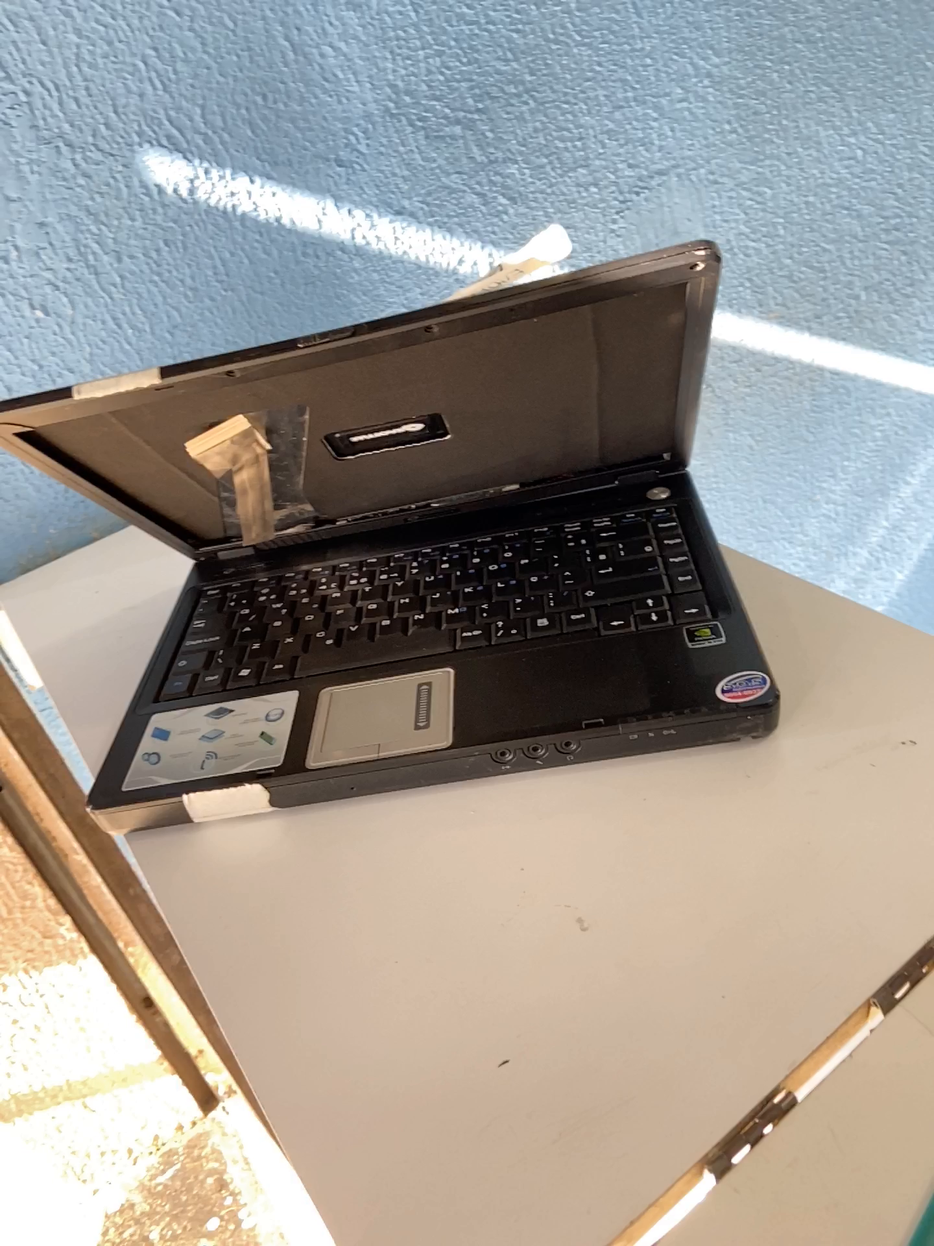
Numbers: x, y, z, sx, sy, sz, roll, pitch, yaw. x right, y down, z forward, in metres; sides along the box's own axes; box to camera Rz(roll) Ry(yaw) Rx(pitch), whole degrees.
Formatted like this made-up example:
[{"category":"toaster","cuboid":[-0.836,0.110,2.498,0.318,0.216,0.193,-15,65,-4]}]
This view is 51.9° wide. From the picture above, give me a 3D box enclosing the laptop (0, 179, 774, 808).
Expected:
[{"category":"laptop","cuboid":[-0.042,-0.073,0.487,0.328,0.175,0.225,-10,34,7]}]
